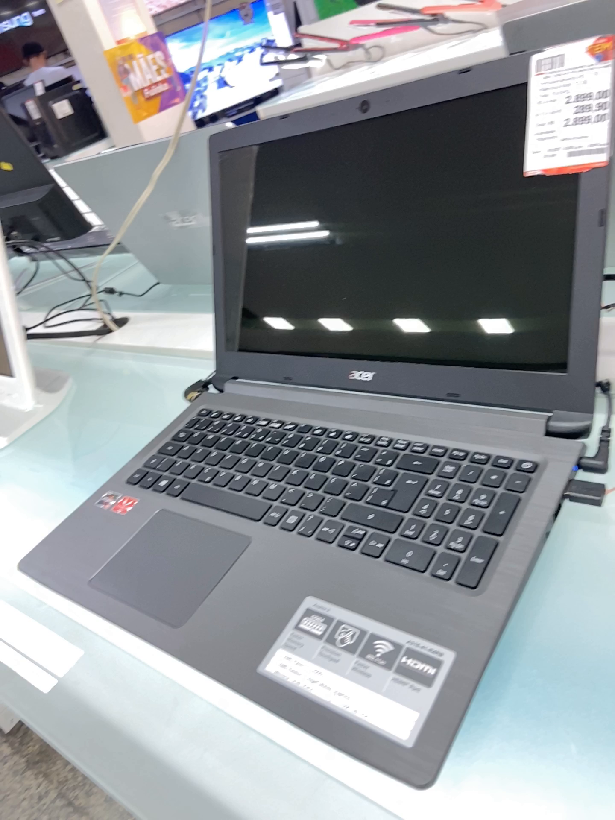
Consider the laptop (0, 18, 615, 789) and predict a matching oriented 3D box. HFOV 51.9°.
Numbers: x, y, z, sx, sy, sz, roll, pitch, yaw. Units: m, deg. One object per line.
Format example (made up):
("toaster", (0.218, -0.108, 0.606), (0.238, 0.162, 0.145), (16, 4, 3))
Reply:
("laptop", (-0.021, -0.052, 0.414), (0.341, 0.194, 0.354), (7, 42, 40))
